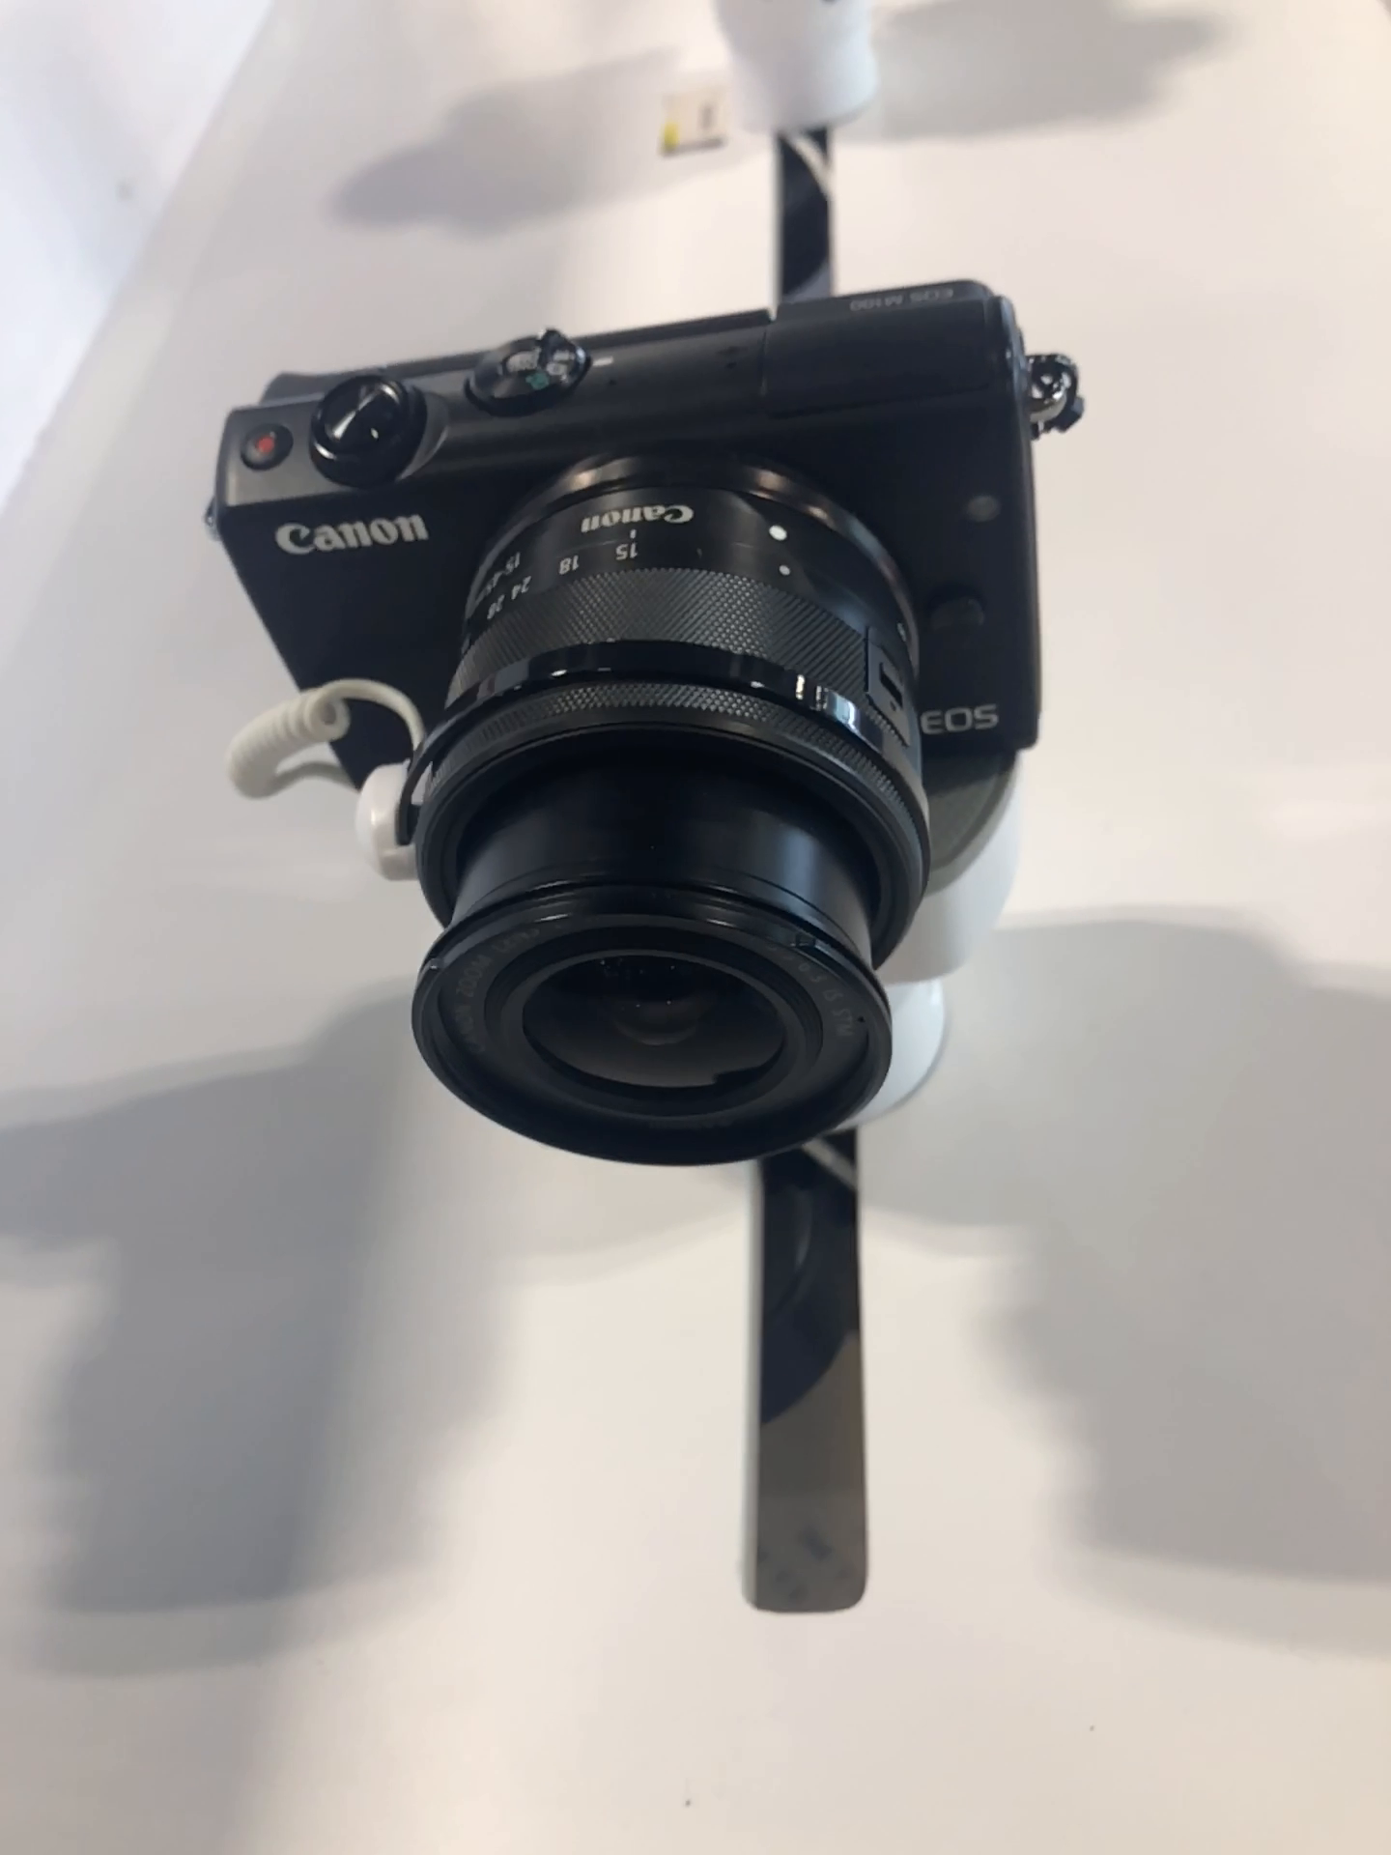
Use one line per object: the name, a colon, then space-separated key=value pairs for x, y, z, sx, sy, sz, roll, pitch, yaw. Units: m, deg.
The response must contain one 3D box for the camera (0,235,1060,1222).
camera: x=-0.014 y=-0.022 z=0.198 sx=0.110 sy=0.072 sz=0.091 roll=-3 pitch=51 yaw=13
